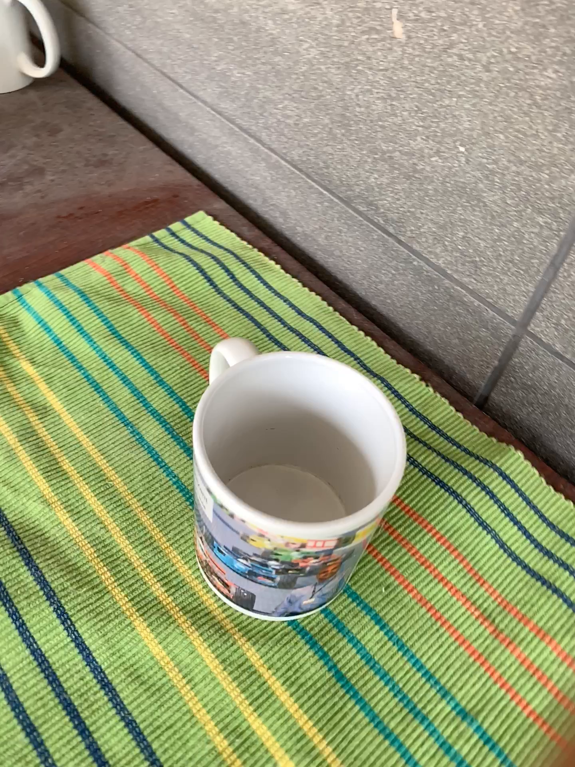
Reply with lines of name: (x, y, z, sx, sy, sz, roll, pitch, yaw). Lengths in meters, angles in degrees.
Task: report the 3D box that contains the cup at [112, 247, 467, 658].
cup: (-0.010, 0.027, 0.265, 0.080, 0.100, 0.130, -22, 58, -25)
